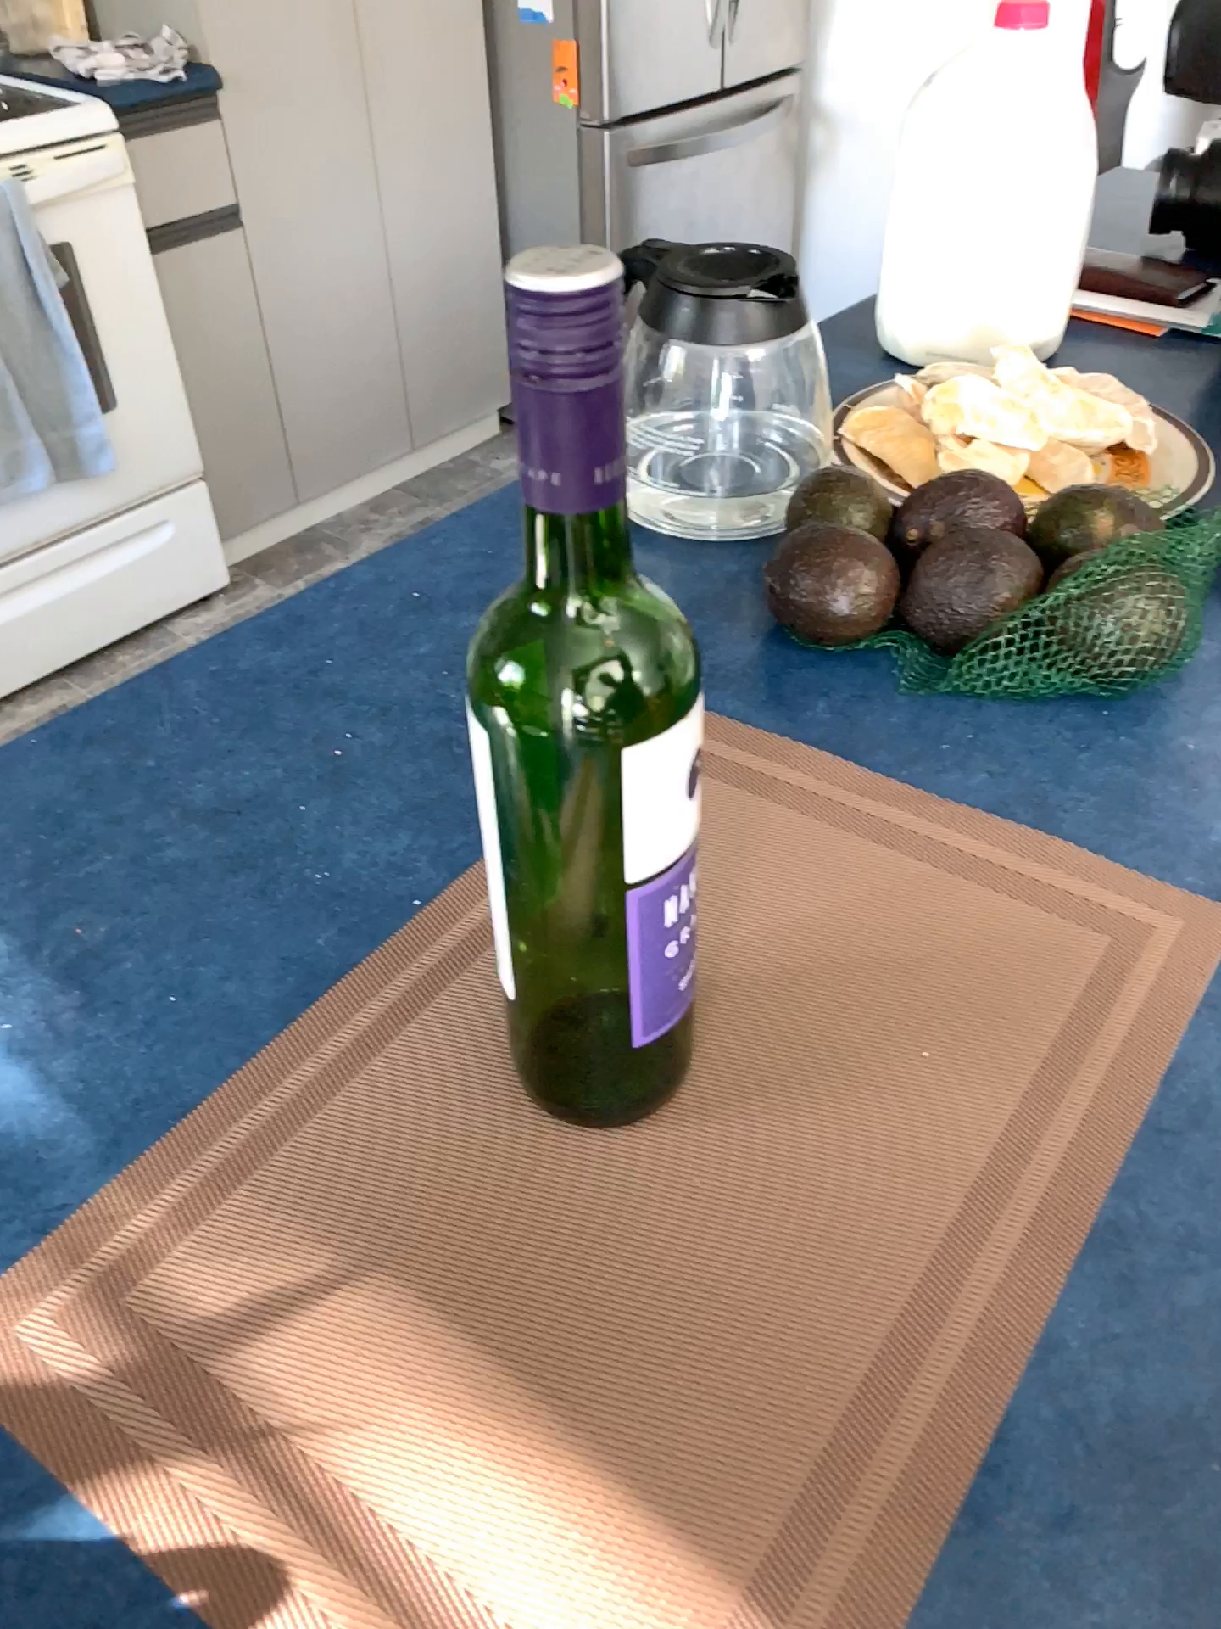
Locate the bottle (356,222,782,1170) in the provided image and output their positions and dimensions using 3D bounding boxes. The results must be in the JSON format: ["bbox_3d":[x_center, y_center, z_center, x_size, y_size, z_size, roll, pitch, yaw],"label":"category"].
[{"bbox_3d":[-0.003,-0.016,0.386,0.080,0.287,0.081,-1,40,1],"label":"bottle"}]
